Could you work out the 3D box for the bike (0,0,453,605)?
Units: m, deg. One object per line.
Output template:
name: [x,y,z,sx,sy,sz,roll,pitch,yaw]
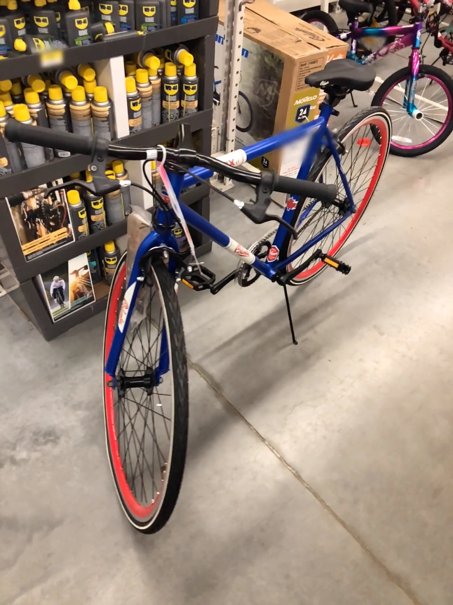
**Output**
bike: [0.272,-0.213,1.301,0.602,0.938,1.497,25,46,18]
